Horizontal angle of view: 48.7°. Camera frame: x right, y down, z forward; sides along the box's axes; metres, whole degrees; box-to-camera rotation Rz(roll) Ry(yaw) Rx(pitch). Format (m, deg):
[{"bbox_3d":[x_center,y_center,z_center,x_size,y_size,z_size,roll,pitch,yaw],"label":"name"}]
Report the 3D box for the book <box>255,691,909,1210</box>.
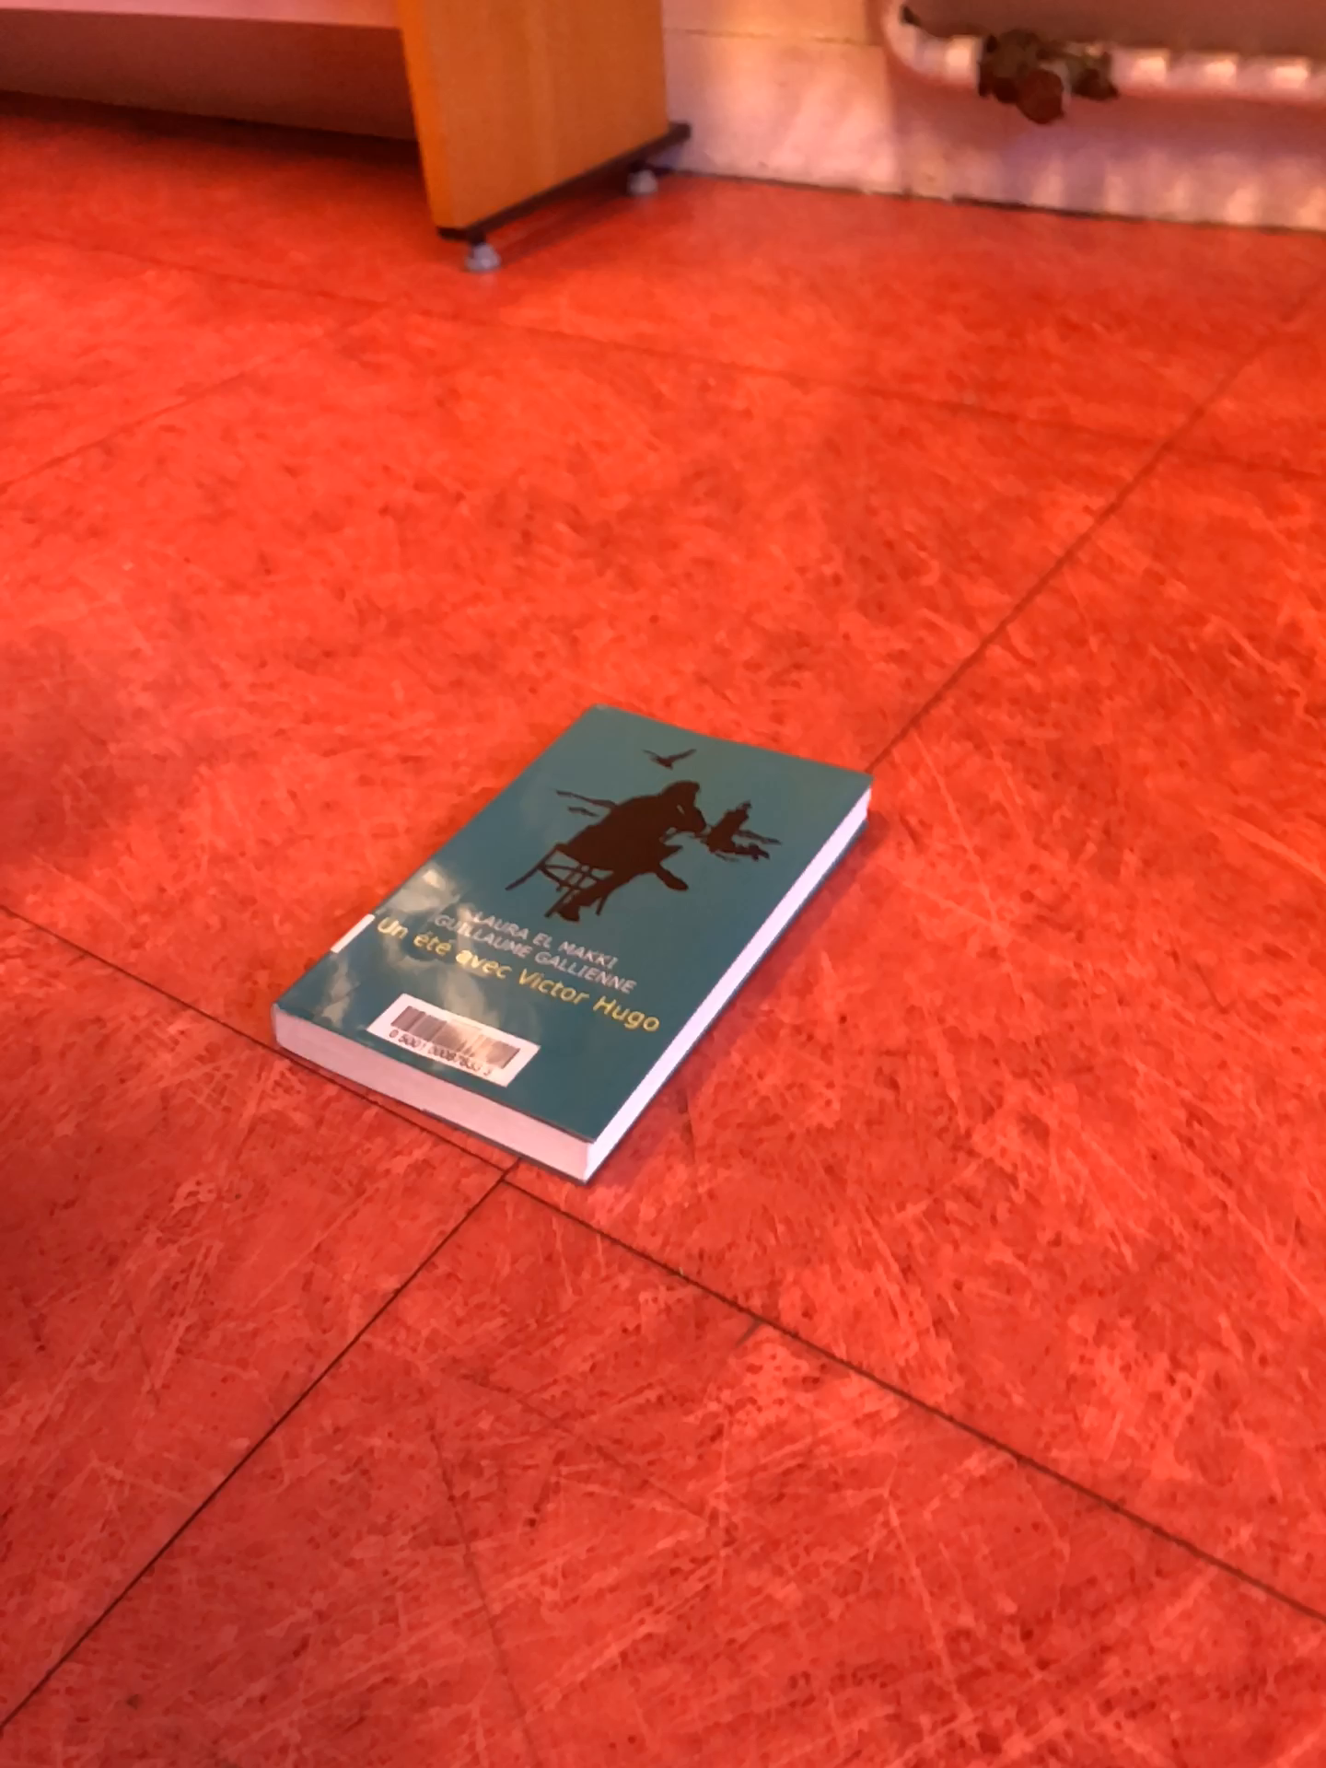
[{"bbox_3d":[-0.016,0.006,0.422,0.110,0.020,0.171,18,44,26],"label":"book"}]
